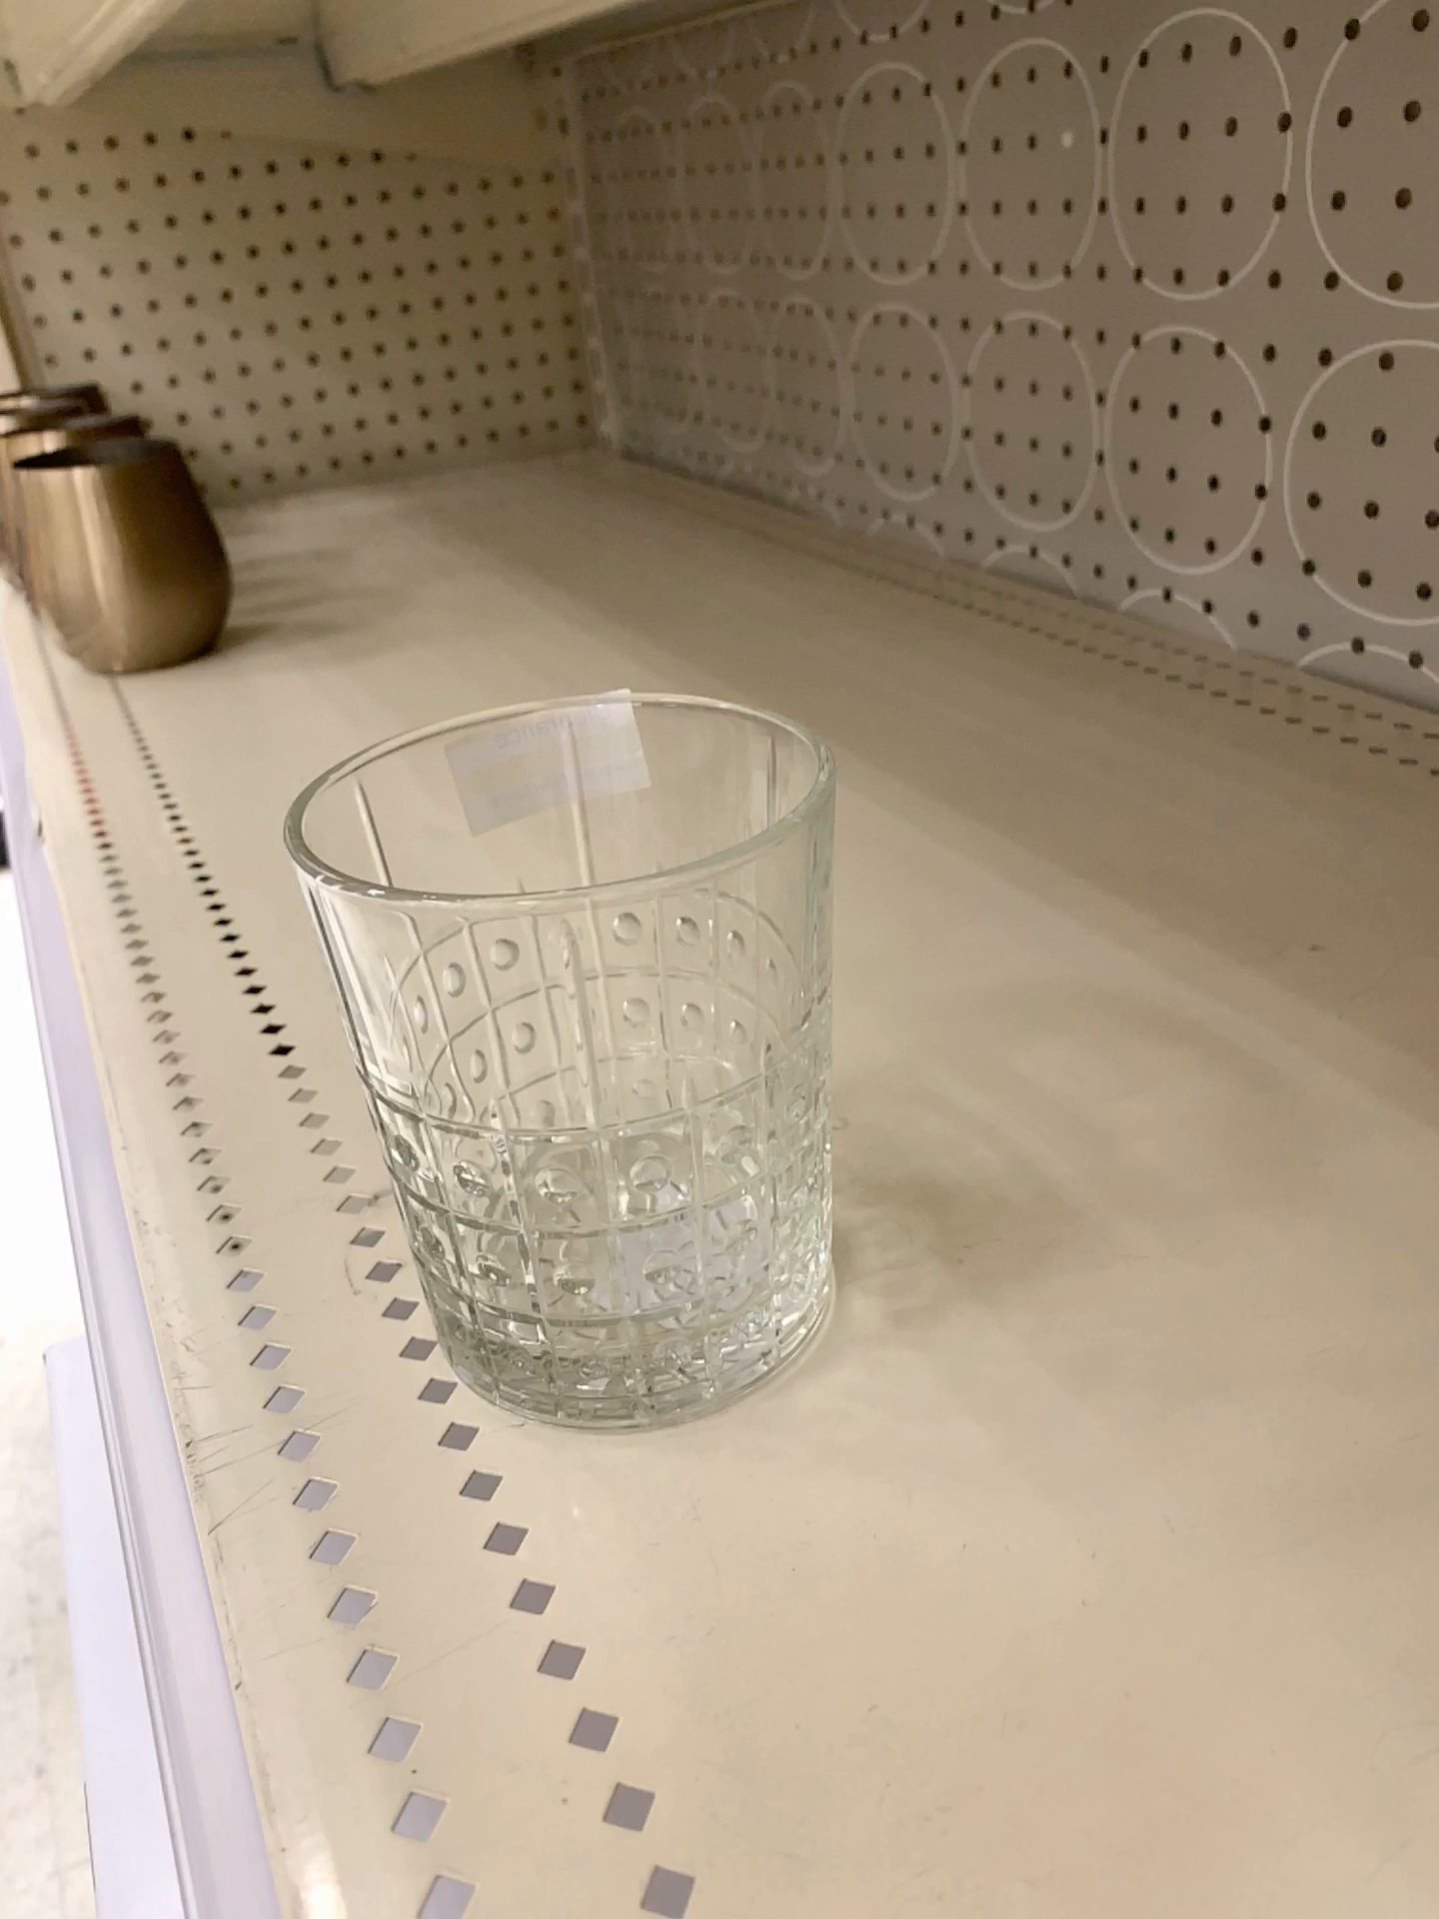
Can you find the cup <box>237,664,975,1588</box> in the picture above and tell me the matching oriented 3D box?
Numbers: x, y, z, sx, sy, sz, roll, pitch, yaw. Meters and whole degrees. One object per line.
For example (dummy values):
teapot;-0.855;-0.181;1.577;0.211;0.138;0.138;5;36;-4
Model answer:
cup;-0.019;0.022;0.264;0.090;0.109;0.090;-5;29;3
